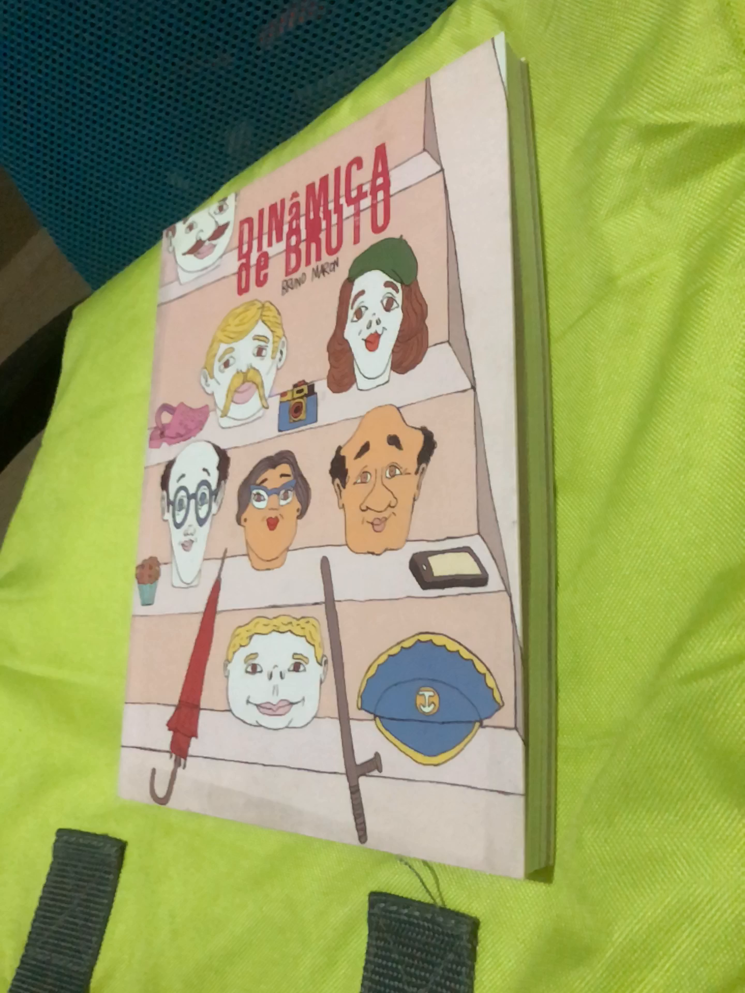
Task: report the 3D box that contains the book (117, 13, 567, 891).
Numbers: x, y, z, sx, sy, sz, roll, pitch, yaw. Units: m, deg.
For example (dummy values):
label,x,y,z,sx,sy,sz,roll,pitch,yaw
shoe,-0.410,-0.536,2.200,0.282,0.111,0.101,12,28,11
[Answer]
label,x,y,z,sx,sy,sz,roll,pitch,yaw
book,-0.021,-0.012,0.285,0.179,0.020,0.240,-11,72,42
